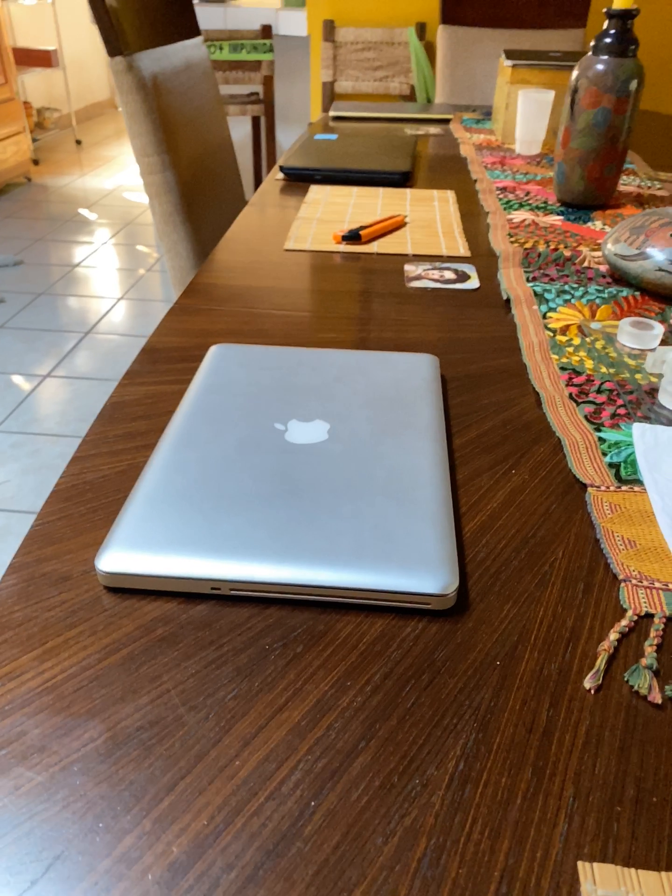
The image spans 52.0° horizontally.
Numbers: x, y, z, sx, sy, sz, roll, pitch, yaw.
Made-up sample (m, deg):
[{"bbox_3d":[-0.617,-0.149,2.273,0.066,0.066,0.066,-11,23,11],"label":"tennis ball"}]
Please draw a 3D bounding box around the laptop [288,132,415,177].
[{"bbox_3d":[0.045,-0.657,1.533,0.254,0.012,0.303,6,35,2],"label":"laptop"}]

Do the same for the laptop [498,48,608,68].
[{"bbox_3d":[0.501,-0.922,1.629,0.214,0.011,0.310,4,35,9],"label":"laptop"}]

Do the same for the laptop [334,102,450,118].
[{"bbox_3d":[0.172,-1.069,2.178,0.343,0.004,0.321,1,34,1],"label":"laptop"}]

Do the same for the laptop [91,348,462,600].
[{"bbox_3d":[-0.026,-0.005,0.562,0.232,0.002,0.326,3,34,3],"label":"laptop"}]
